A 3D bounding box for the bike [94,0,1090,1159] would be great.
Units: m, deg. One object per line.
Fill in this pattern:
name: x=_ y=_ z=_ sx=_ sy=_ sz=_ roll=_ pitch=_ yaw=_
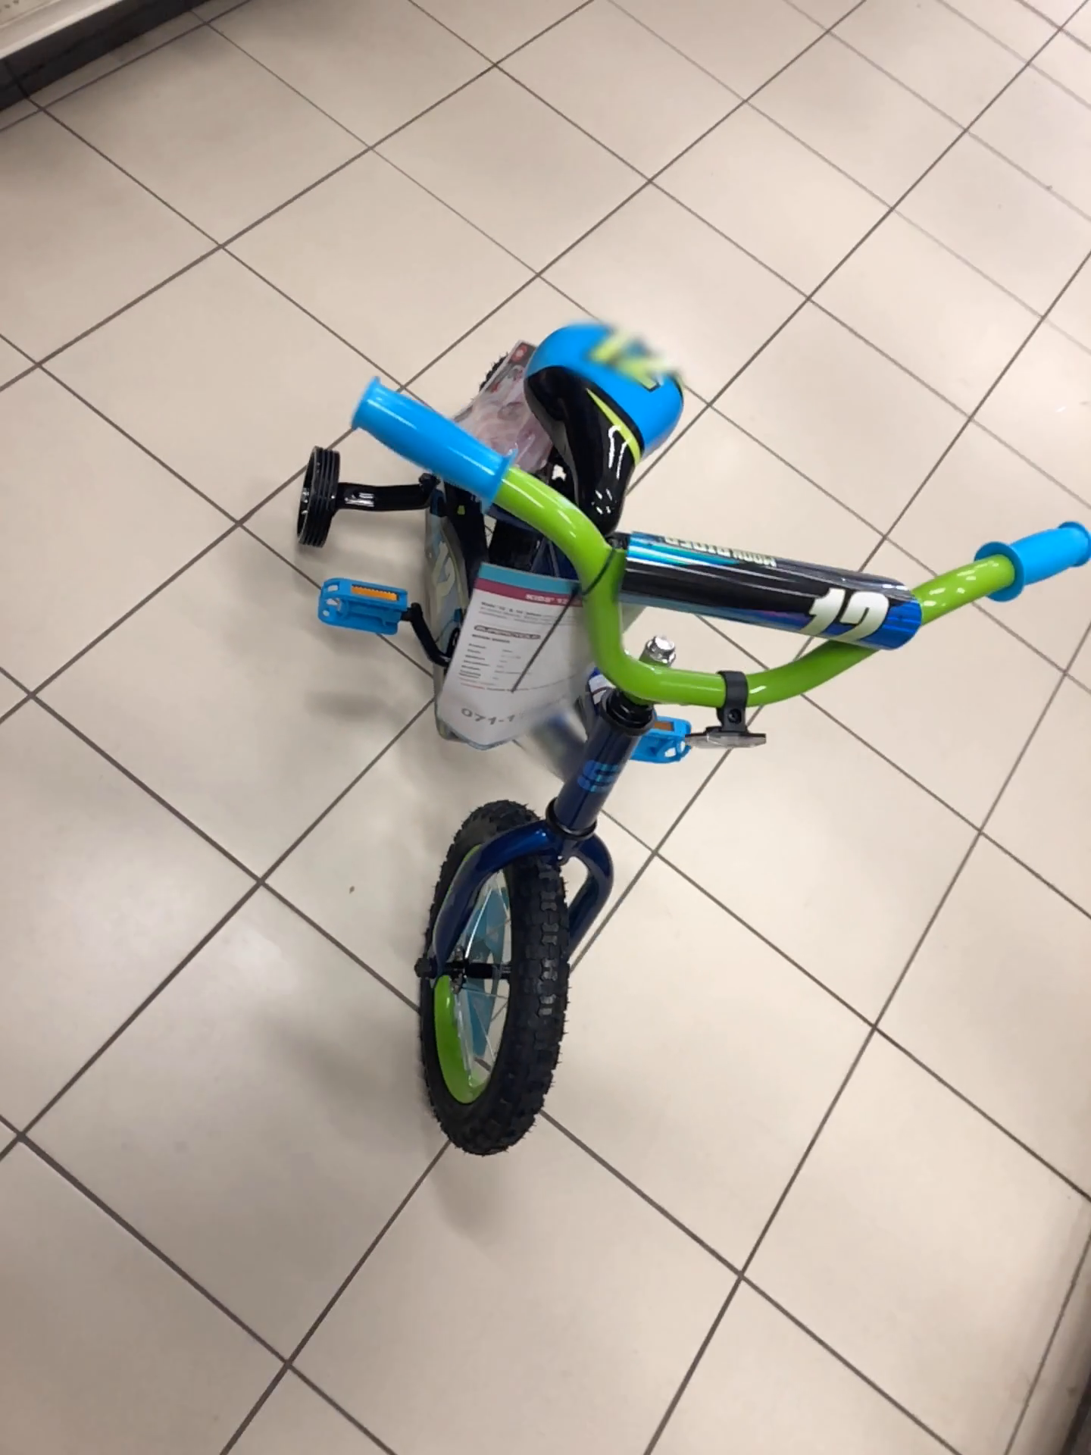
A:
bike: x=0.009 y=-0.104 z=0.988 sx=0.548 sy=0.676 sz=0.796 roll=7 pitch=63 yaw=-14
